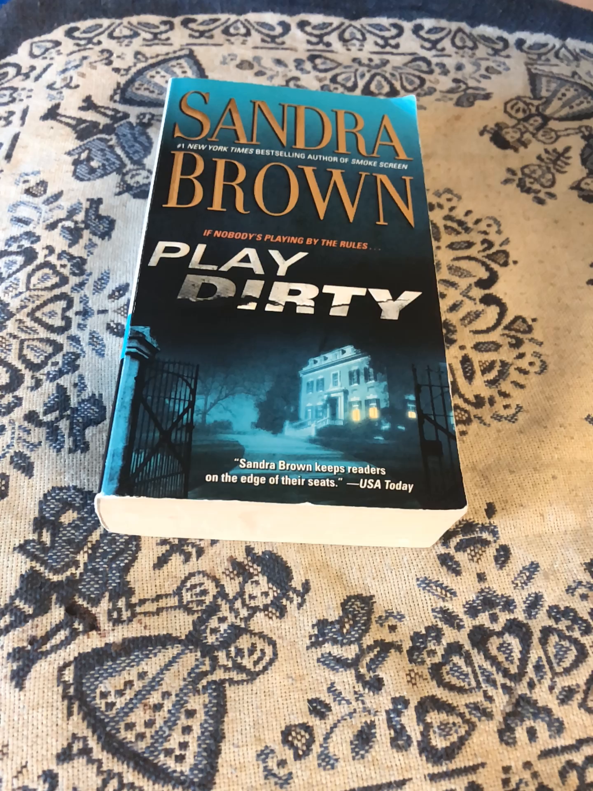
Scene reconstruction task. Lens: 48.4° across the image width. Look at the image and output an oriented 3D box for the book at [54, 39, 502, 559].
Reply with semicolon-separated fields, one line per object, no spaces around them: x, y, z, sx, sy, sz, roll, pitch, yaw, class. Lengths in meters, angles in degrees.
-0.005;-0.041;0.223;0.110;0.040;0.181;3;60;-5;book
